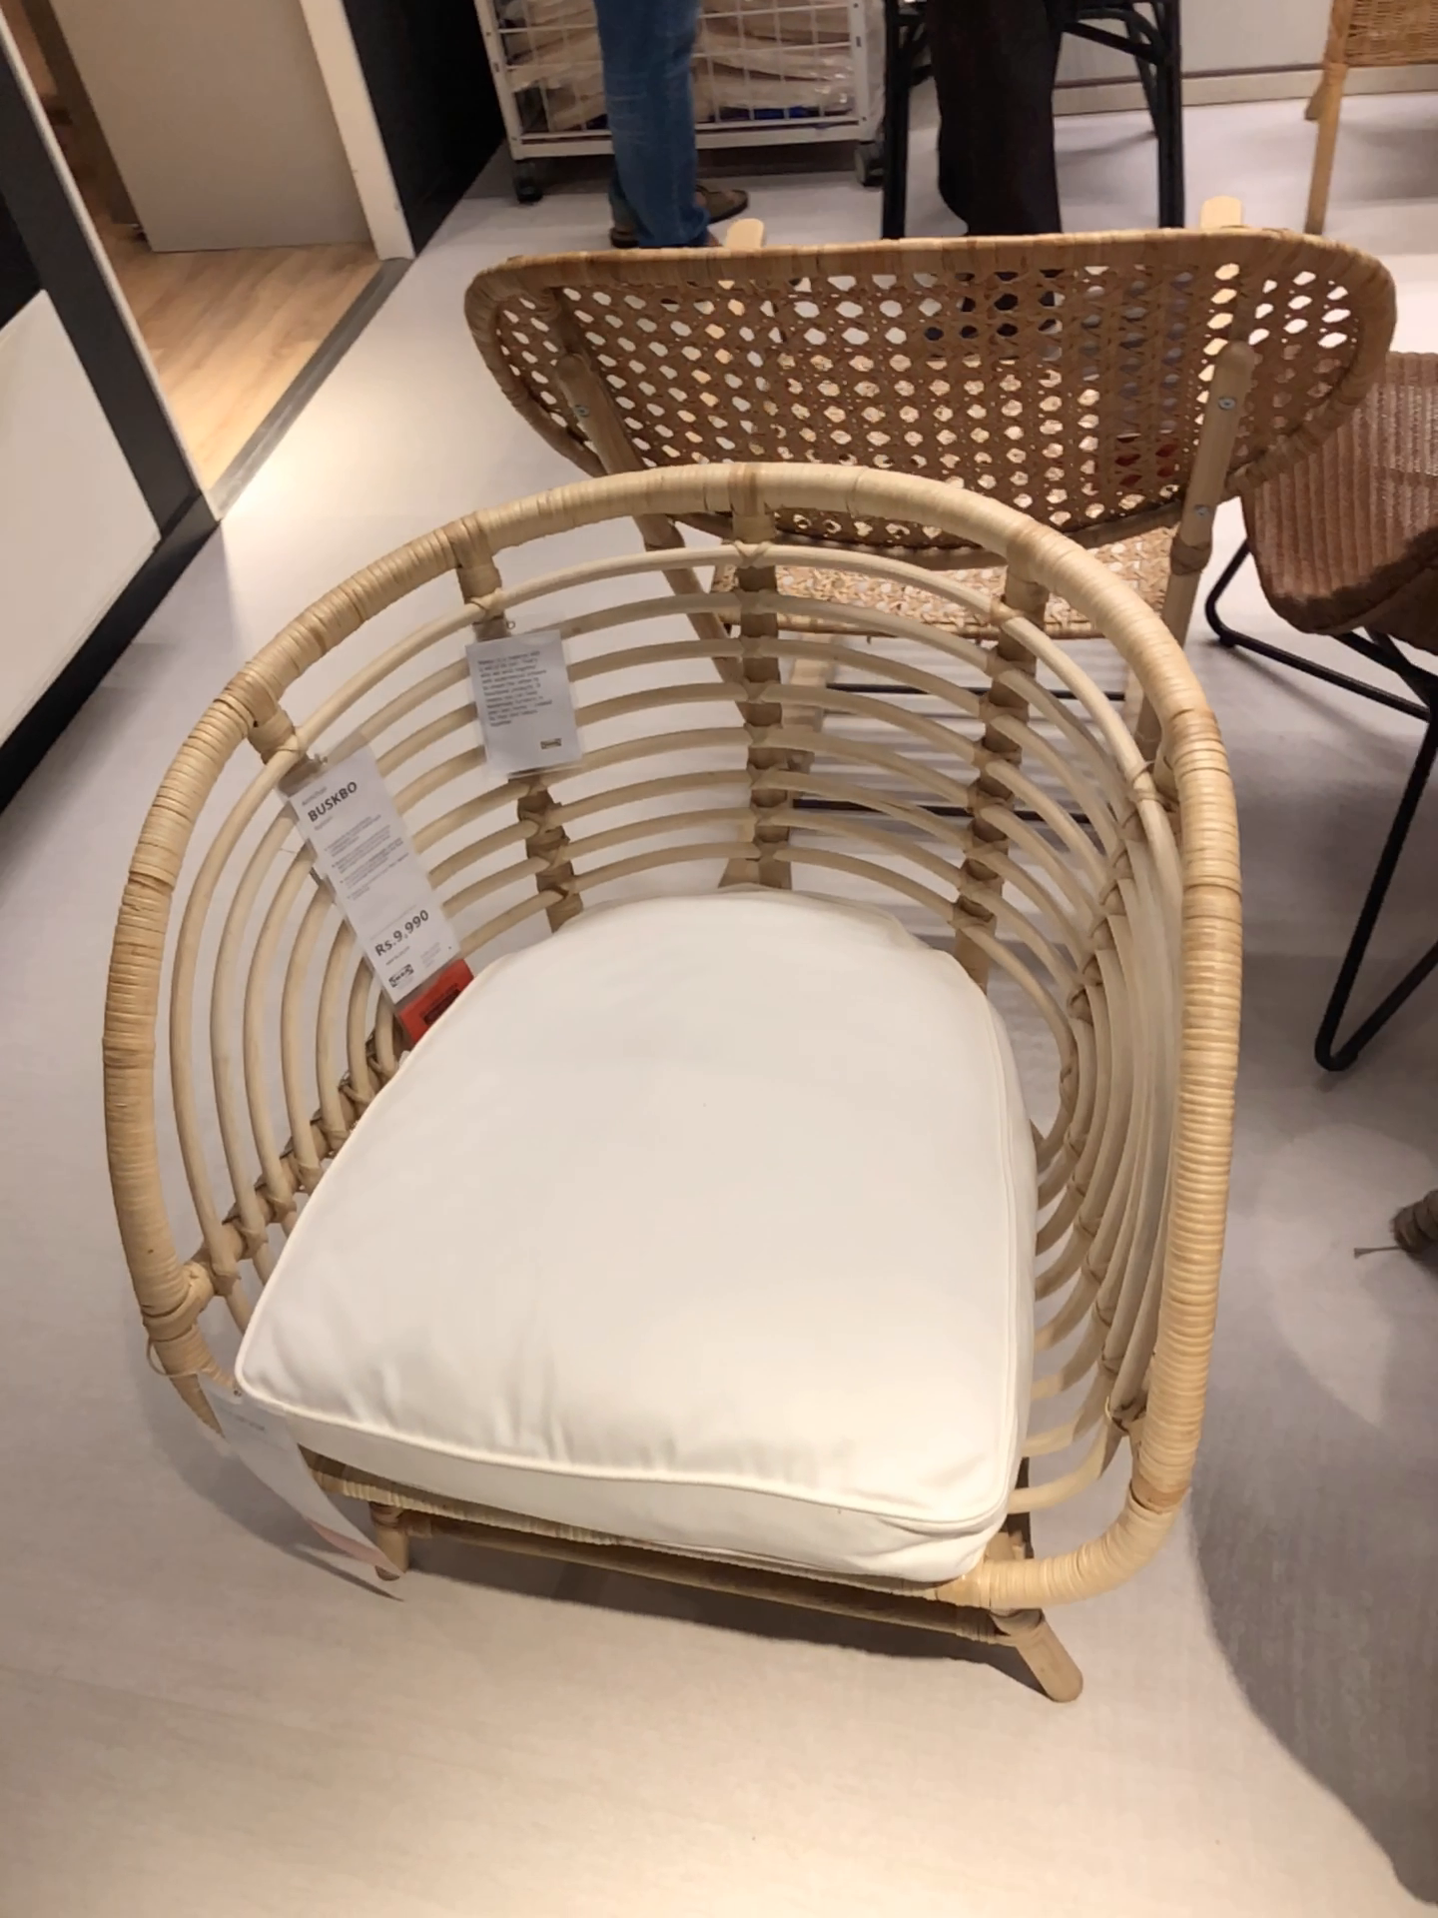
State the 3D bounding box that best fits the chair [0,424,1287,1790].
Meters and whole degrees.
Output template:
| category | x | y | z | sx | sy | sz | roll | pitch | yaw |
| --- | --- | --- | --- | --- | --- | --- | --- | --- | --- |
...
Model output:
| category | x | y | z | sx | sy | sz | roll | pitch | yaw |
| --- | --- | --- | --- | --- | --- | --- | --- | --- | --- |
| chair | 0.005 | 0.102 | 1.295 | 0.781 | 0.775 | 0.704 | 5 | 49 | 16 |
